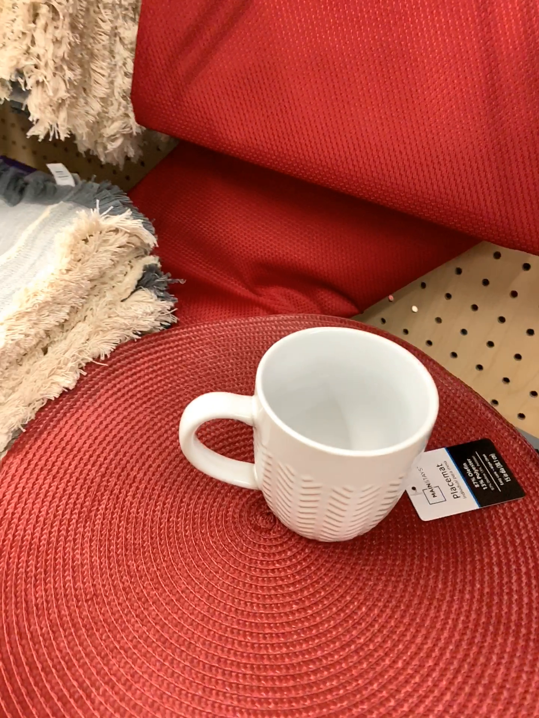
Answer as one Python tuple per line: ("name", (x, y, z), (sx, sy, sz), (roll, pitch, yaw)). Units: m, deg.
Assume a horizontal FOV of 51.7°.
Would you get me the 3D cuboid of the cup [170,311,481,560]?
("cup", (0.019, 0.036, 0.310), (0.140, 0.090, 0.100), (-1, 31, -8))
